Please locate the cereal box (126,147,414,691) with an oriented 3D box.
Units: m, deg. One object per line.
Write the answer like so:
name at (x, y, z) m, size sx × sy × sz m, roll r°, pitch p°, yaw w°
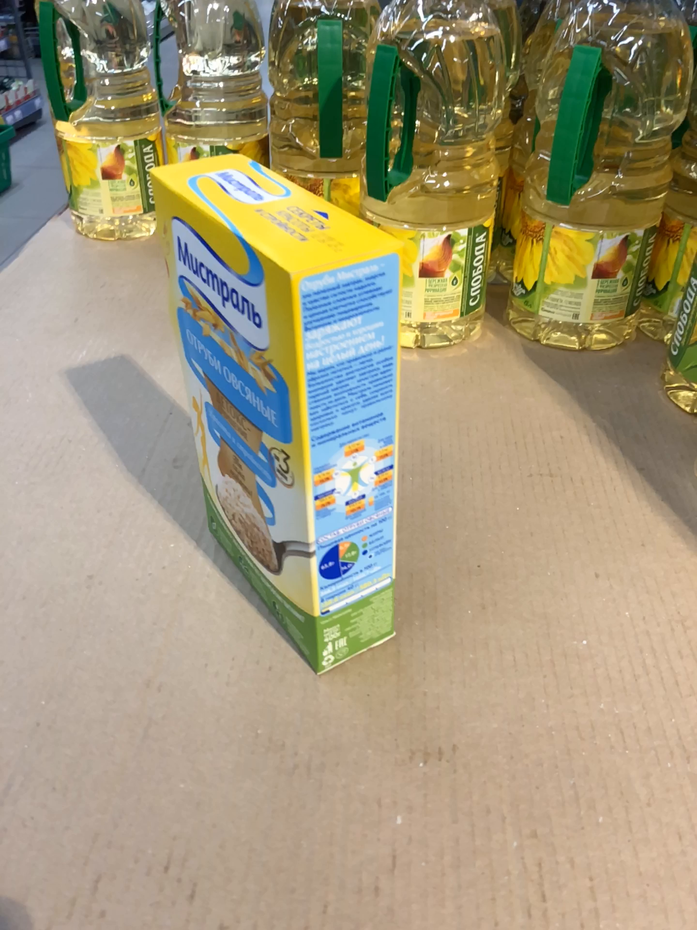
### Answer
cereal box at (-0.037, -0.022, 0.366) m, size 0.050 × 0.209 × 0.151 m, roll -21°, pitch 41°, yaw -25°
